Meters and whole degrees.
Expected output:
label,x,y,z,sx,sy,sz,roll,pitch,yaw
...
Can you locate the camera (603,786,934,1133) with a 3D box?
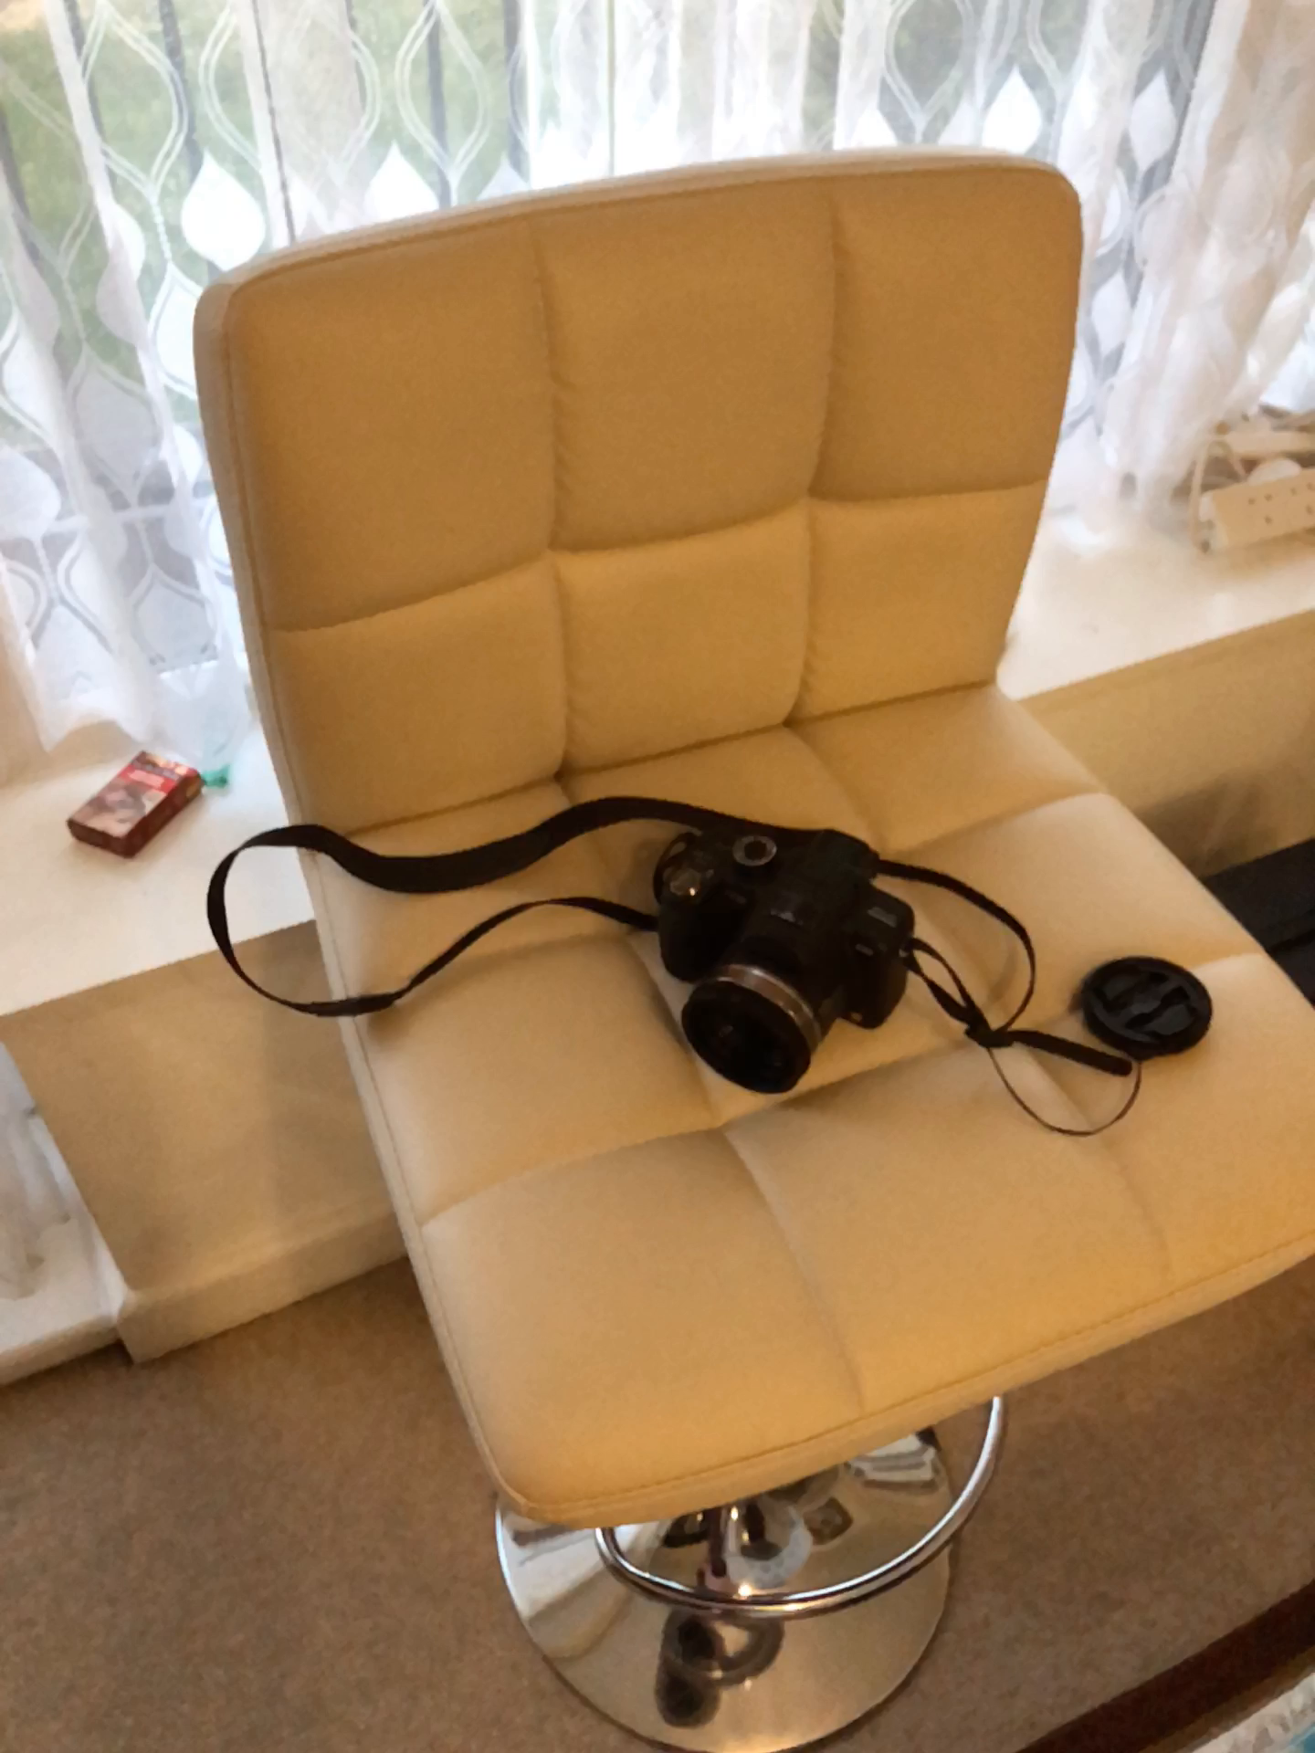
label,x,y,z,sx,sy,sz,roll,pitch,yaw
camera,0.048,0.034,0.638,0.112,0.076,0.098,20,48,18
